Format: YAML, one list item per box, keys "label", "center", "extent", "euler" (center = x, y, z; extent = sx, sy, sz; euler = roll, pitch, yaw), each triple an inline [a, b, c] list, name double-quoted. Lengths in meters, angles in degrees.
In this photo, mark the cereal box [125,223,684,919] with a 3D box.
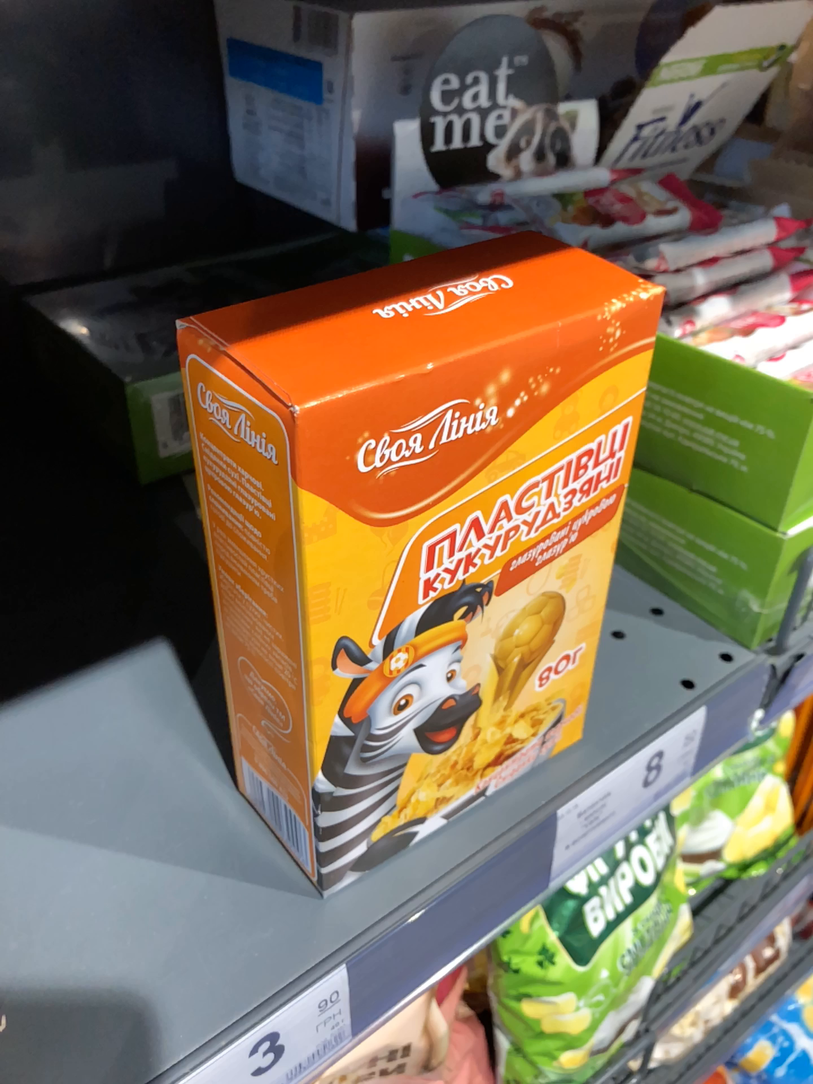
- label: "cereal box"
  center: [0.002, 0.009, 0.253]
  extent: [0.120, 0.159, 0.050]
  euler: [-23, 43, -29]
